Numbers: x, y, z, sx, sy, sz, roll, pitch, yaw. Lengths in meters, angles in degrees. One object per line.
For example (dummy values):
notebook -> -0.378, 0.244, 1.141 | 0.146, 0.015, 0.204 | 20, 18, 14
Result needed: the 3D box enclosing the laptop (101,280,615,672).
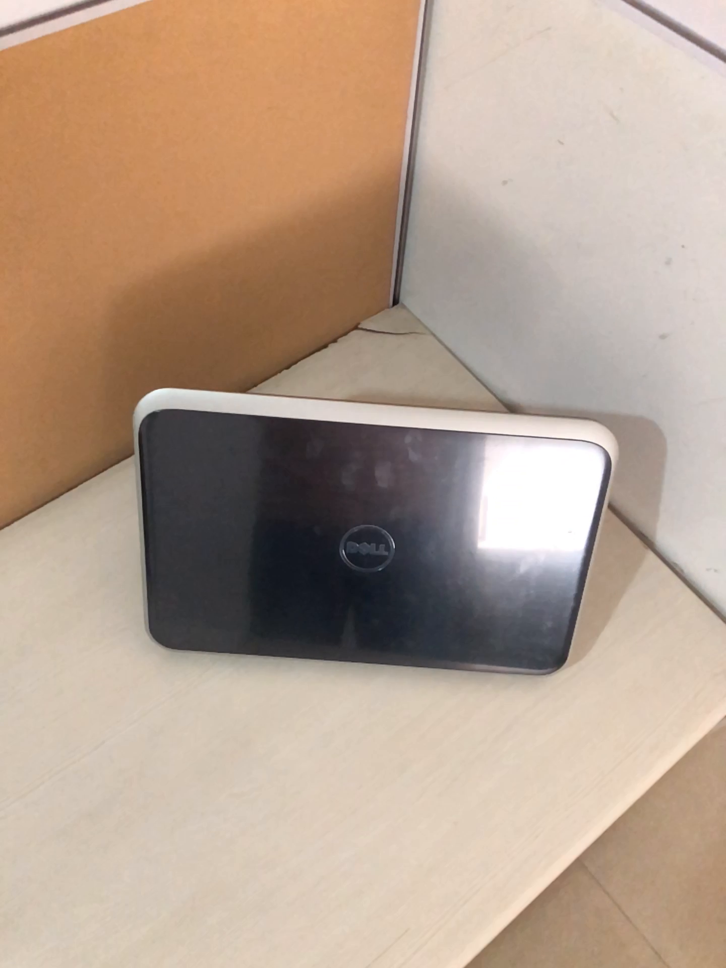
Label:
laptop -> 0.005, 0.001, 0.678 | 0.347, 0.193, 0.240 | 5, 60, -2
